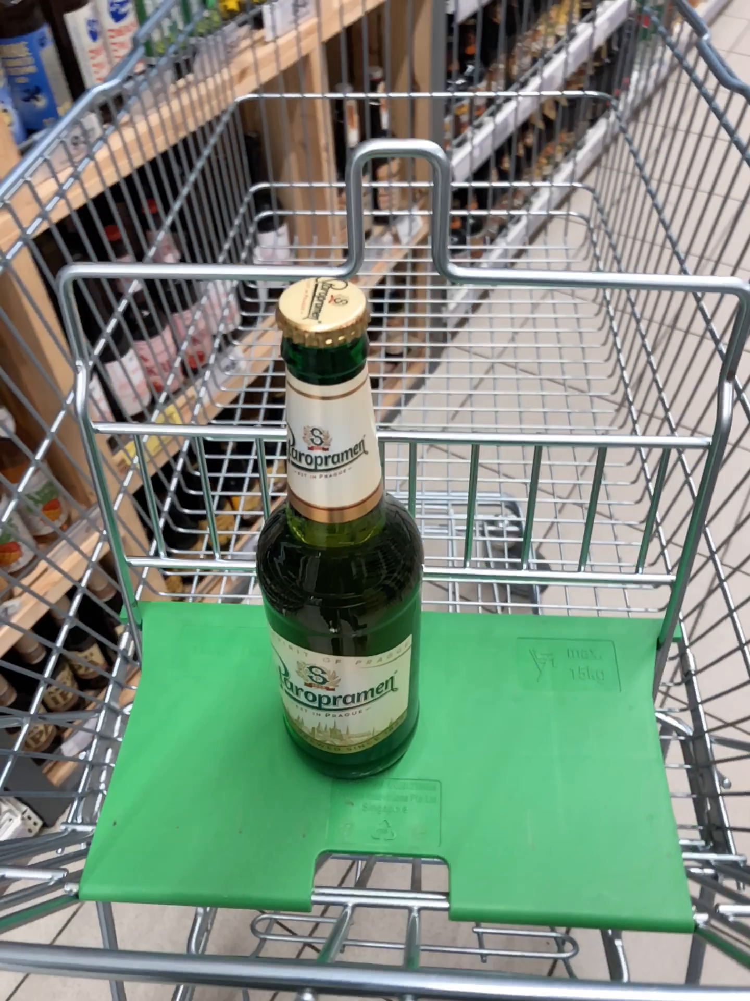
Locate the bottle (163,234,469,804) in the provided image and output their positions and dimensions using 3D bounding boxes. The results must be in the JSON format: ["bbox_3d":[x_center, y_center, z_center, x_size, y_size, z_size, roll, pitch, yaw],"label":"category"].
[{"bbox_3d":[-0.009,0.028,0.318,0.070,0.239,0.070,-1,47,1],"label":"bottle"}]
